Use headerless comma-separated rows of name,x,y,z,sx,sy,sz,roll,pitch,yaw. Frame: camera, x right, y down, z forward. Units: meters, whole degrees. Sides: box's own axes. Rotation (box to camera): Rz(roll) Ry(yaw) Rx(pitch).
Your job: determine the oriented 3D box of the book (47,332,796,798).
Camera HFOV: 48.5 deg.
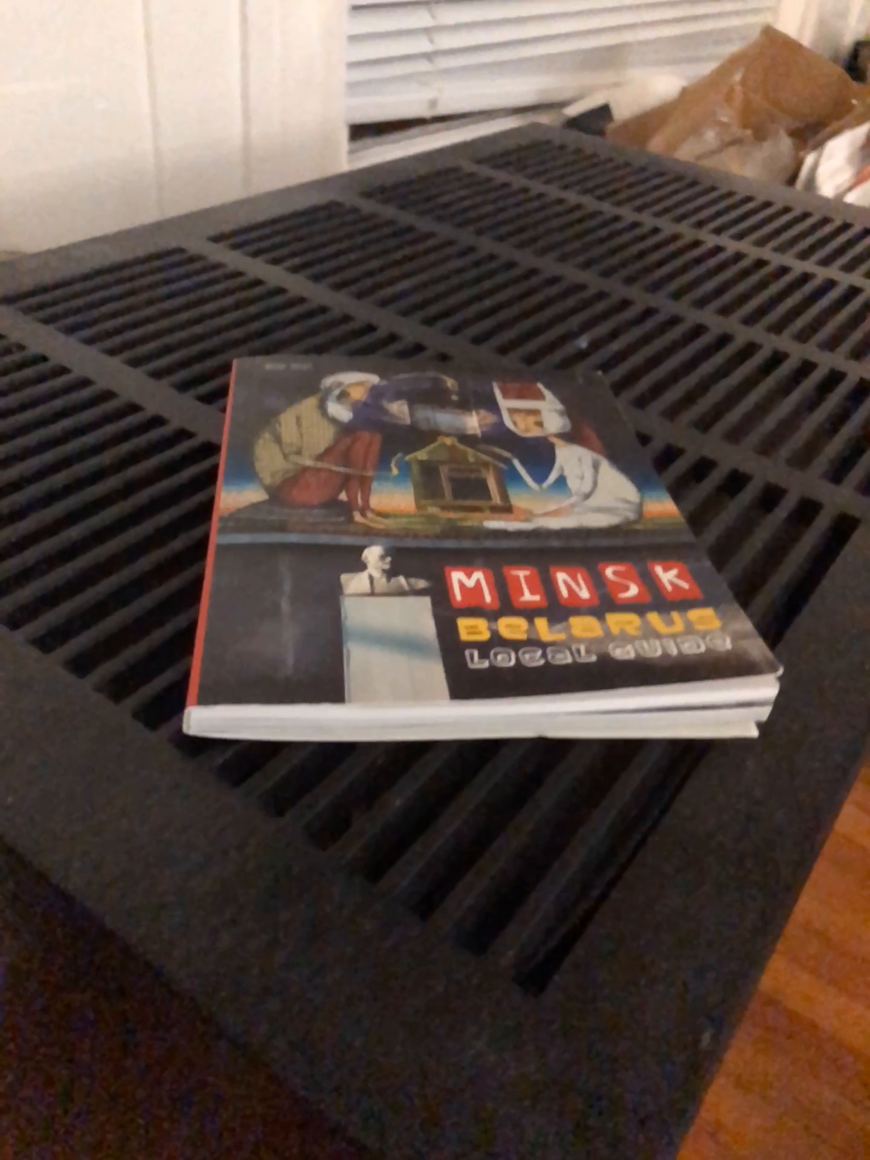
book,-0.009,-0.021,0.291,0.160,0.020,0.201,1,37,-7
